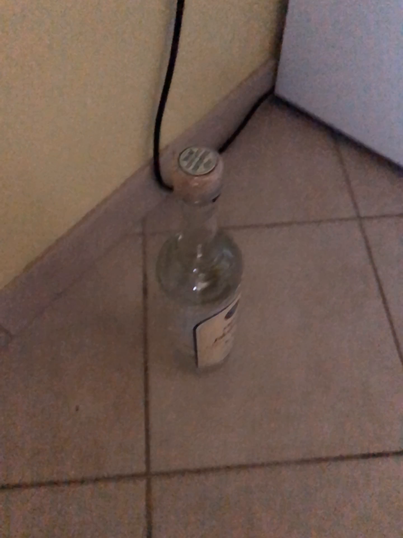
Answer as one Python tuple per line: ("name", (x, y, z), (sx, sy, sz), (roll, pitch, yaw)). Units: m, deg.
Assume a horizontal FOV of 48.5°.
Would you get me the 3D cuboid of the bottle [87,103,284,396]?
("bottle", (-0.007, 0.020, 0.394), (0.080, 0.319, 0.080), (0, 62, 0))
